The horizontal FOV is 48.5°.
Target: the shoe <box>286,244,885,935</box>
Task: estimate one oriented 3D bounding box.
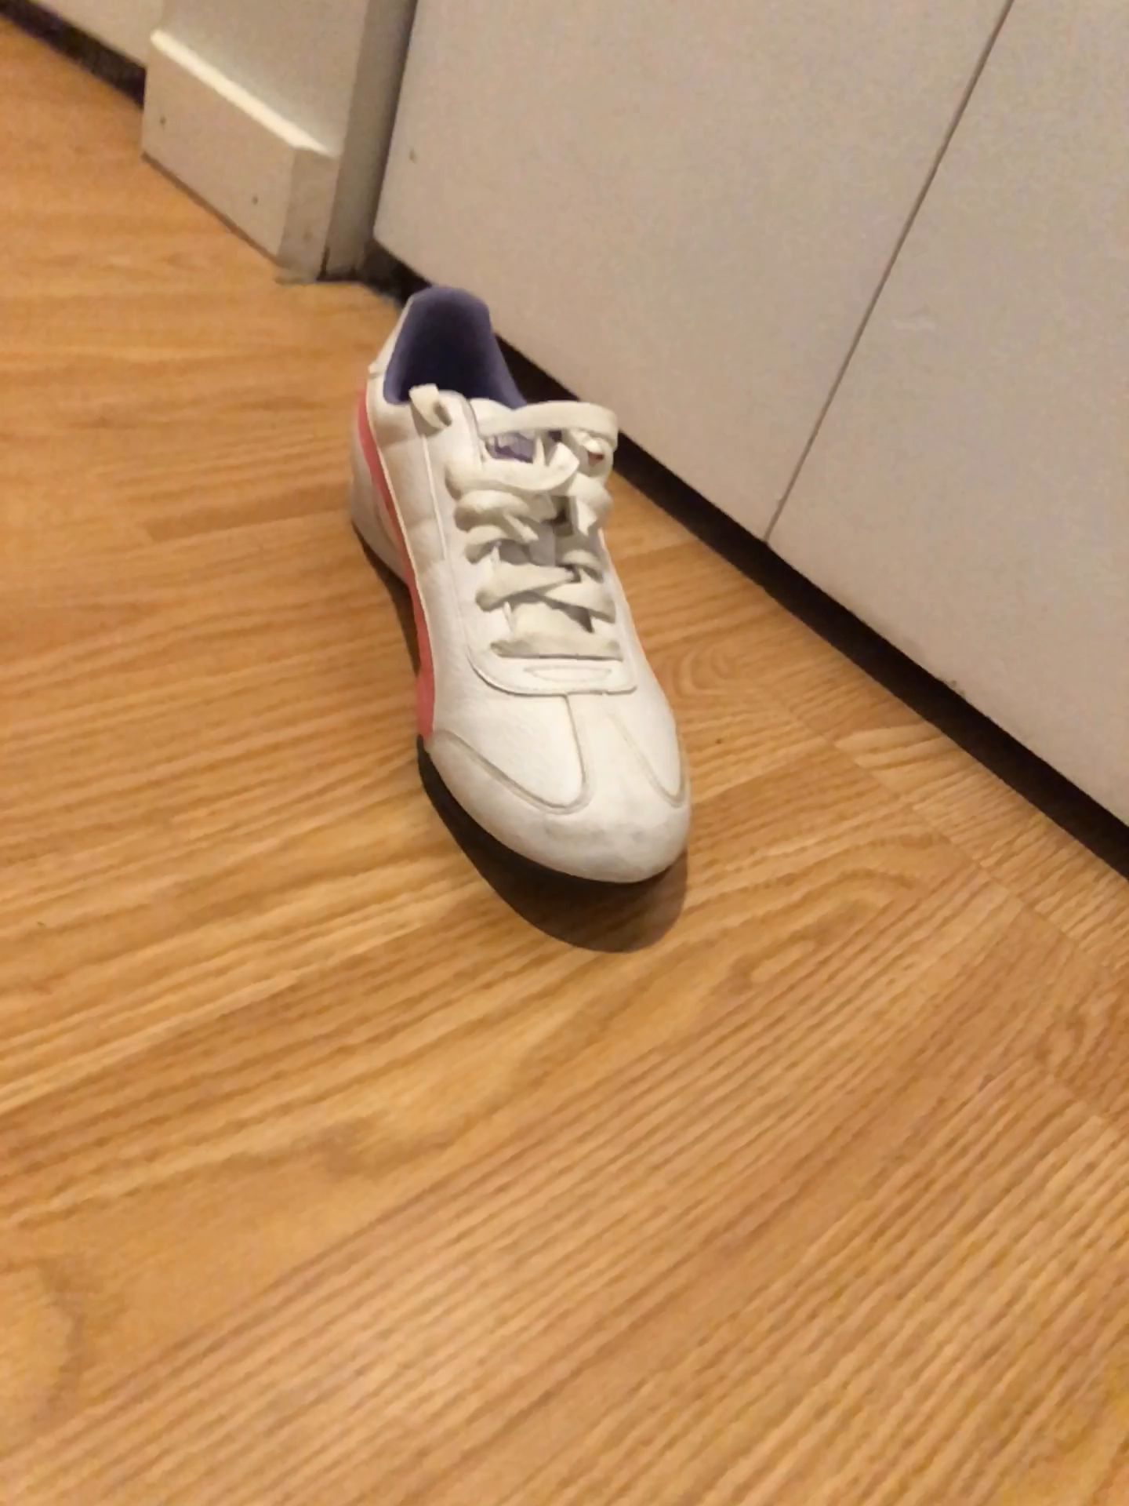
[{"bbox_3d":[-0.014,-0.069,0.420,0.100,0.080,0.261,-1,43,-26],"label":"shoe"}]
